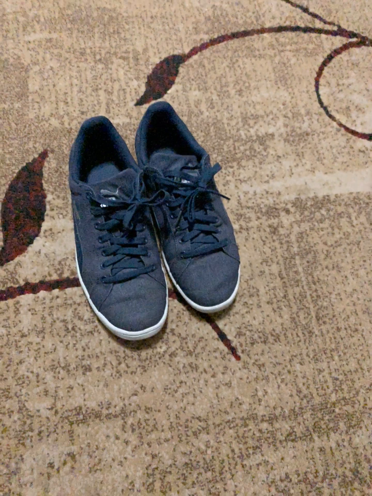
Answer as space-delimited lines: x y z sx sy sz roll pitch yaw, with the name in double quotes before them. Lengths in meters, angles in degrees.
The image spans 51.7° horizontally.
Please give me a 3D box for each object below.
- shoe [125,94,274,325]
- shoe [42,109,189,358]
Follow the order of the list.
"shoe" 0.007 -0.056 0.473 0.099 0.050 0.275 -14 72 -13
"shoe" -0.090 -0.021 0.468 0.106 0.090 0.275 -12 72 -12
